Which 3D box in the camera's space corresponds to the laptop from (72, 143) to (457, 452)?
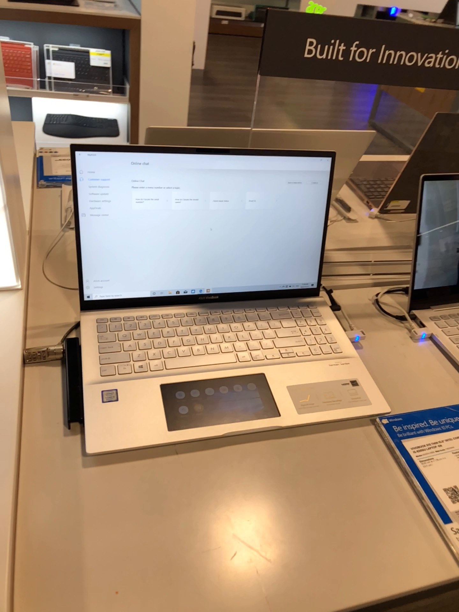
[{"bbox_3d":[0.001,-0.034,0.571,0.330,0.189,0.285,-4,39,-16],"label":"laptop"}]
